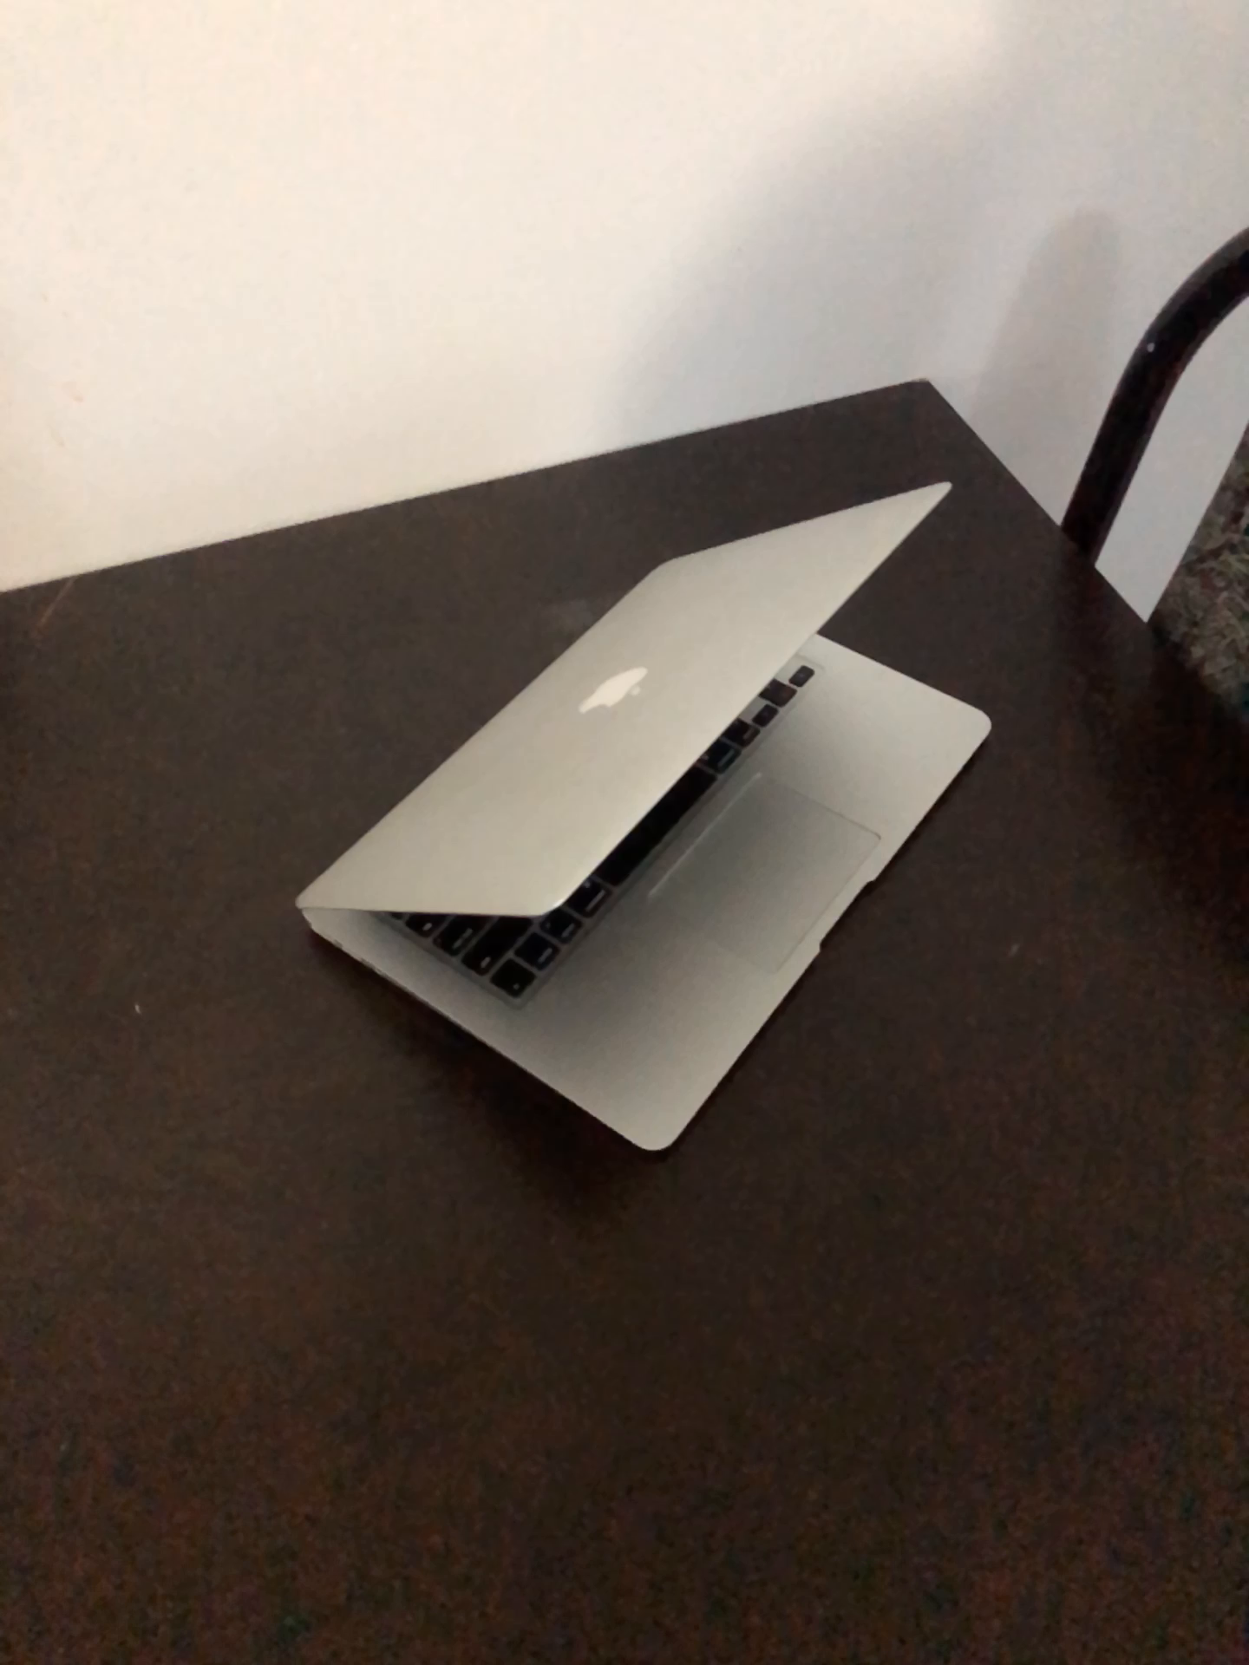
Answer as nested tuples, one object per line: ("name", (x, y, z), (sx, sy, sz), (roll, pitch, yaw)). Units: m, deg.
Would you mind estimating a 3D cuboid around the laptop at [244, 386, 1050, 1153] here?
("laptop", (0.024, -0.055, 0.684), (0.226, 0.131, 0.331), (28, 56, 24))
